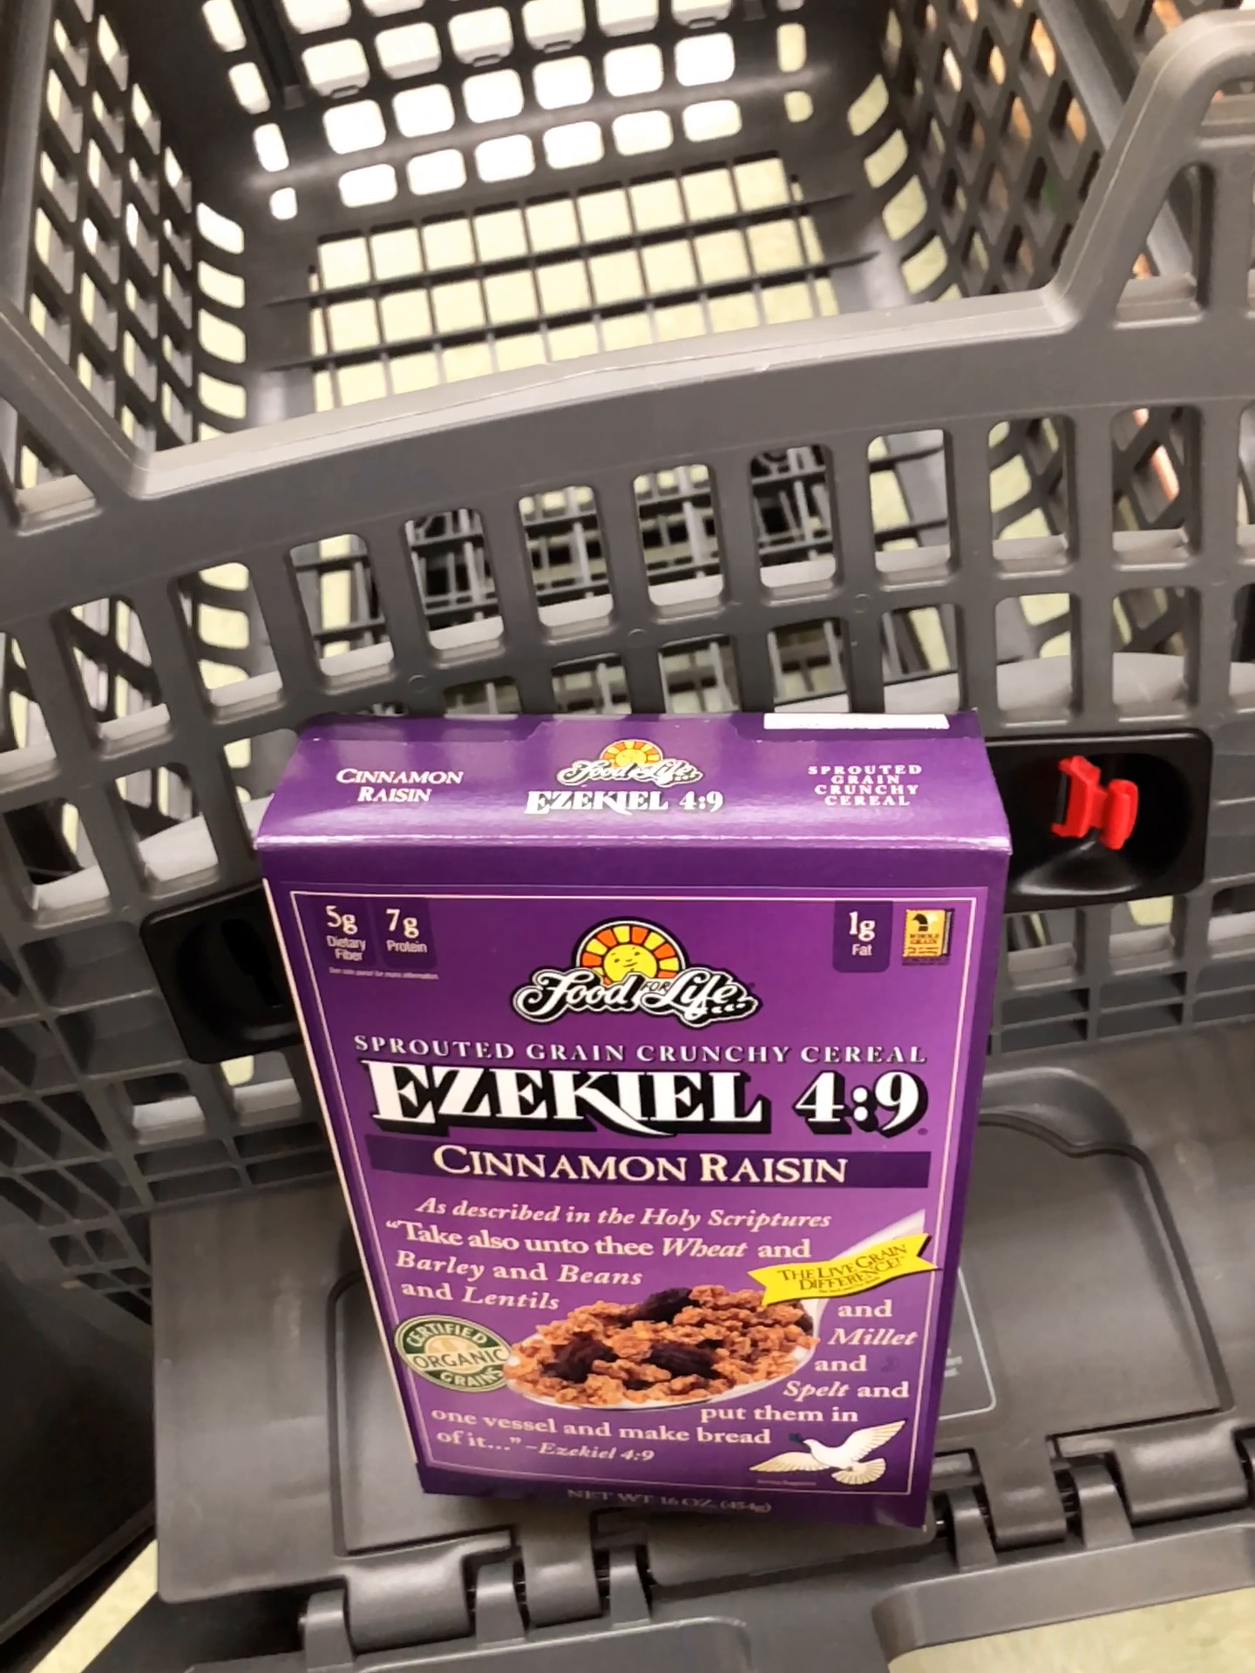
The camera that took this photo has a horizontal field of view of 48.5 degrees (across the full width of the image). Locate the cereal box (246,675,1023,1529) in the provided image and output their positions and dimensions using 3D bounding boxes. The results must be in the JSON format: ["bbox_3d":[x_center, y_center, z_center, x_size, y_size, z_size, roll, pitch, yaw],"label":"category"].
[{"bbox_3d":[0.007,0.083,0.365,0.150,0.250,0.060,0,36,5],"label":"cereal box"}]
